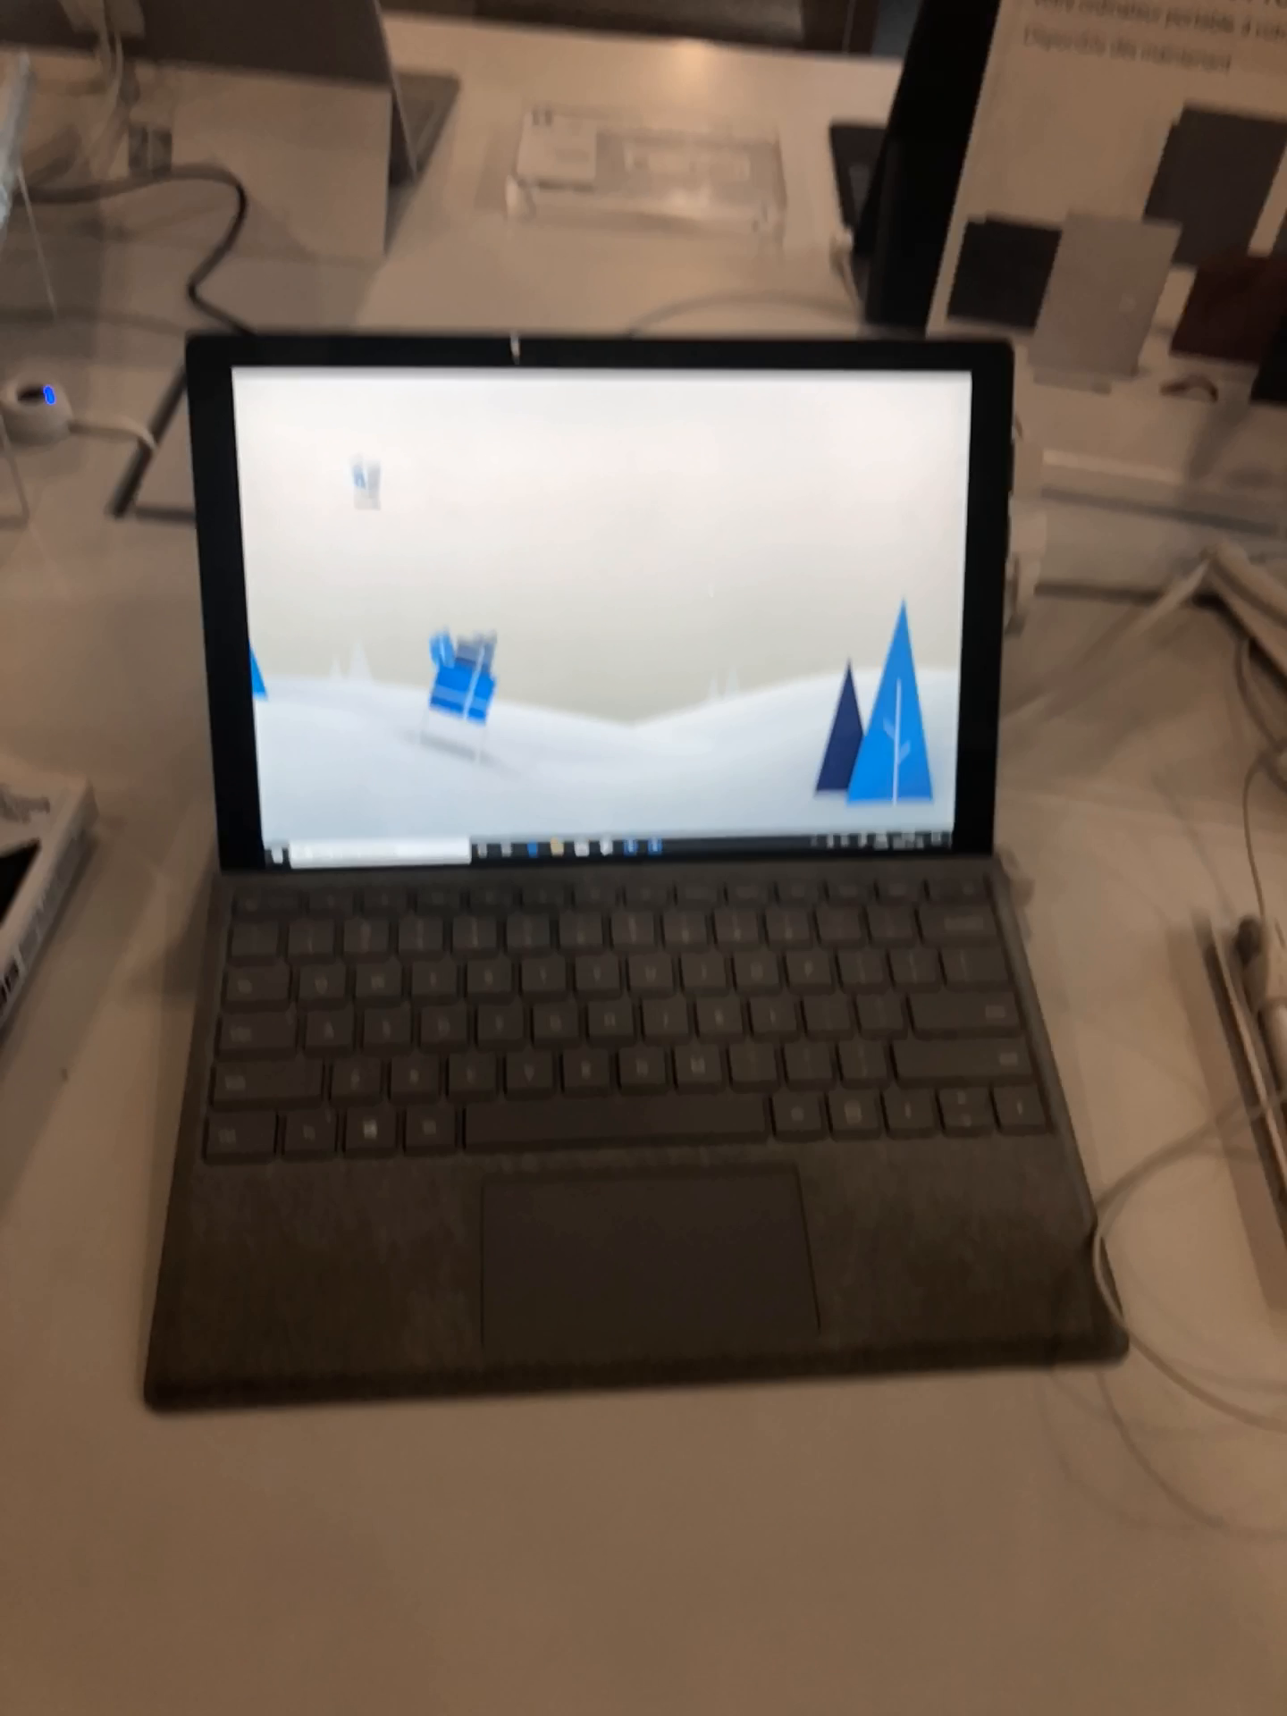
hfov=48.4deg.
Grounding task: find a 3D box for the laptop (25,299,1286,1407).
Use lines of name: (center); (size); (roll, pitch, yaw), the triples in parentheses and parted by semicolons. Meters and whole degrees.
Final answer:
laptop: (-0.004, -0.018, 0.459); (0.285, 0.150, 0.308); (-1, 51, -6)
